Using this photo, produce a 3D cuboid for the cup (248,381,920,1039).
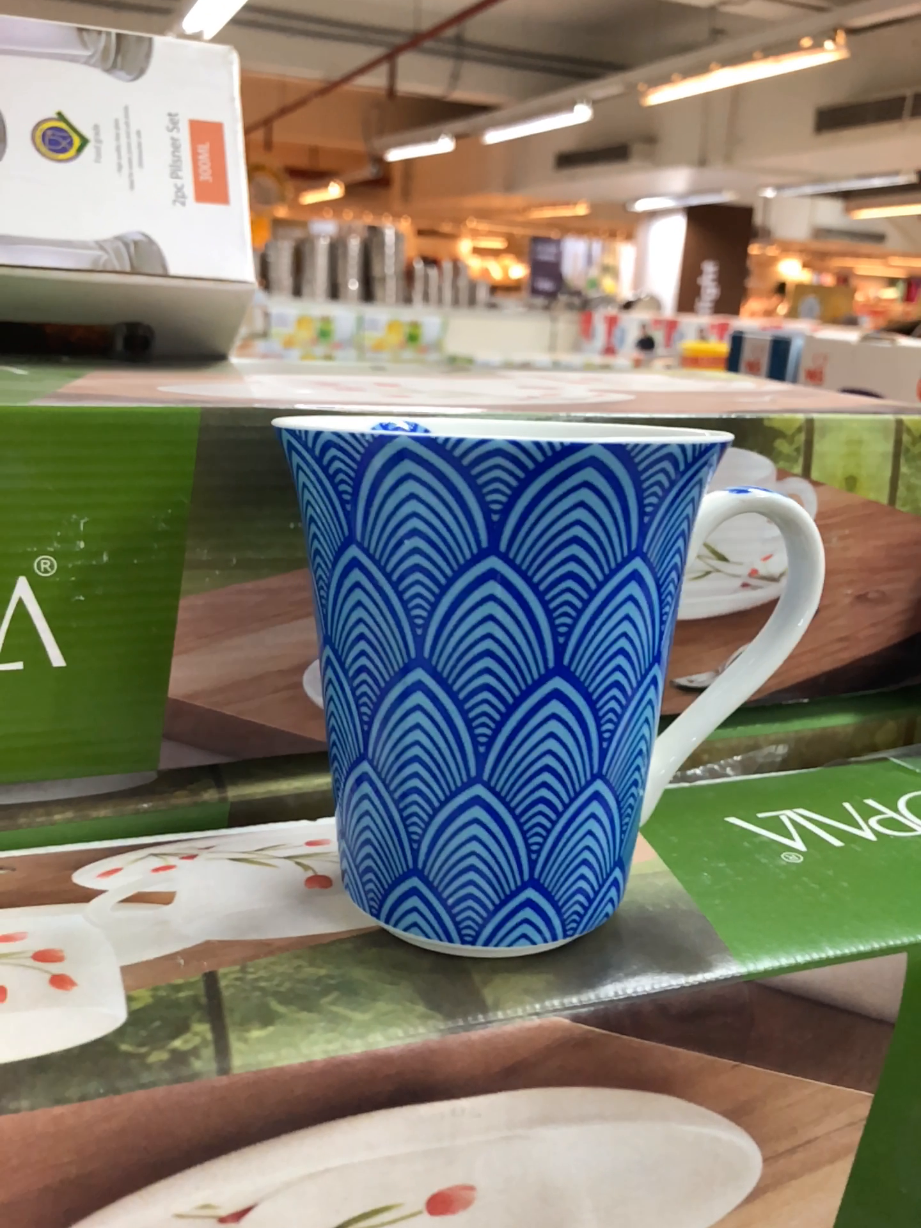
[{"bbox_3d":[0.017,0.009,0.210,0.110,0.100,0.080,-2,18,-17],"label":"cup"}]
